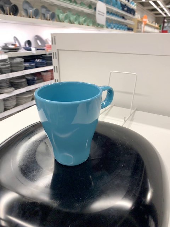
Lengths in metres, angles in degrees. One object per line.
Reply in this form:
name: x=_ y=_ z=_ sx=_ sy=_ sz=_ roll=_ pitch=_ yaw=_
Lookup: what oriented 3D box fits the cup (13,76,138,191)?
cup: x=-0.009 y=0.010 z=0.260 sx=0.140 sy=0.100 sz=0.100 roll=-20 pitch=30 yaw=-39
